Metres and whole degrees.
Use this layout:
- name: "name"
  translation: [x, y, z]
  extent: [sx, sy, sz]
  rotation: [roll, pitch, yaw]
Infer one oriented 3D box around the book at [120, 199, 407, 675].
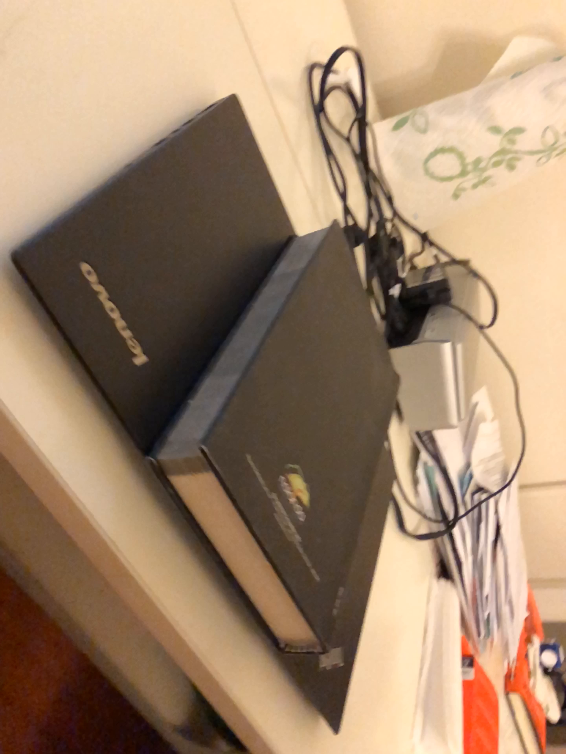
- name: "book"
  translation: [0.015, 0.017, 0.357]
  extent: [0.150, 0.040, 0.231]
  rotation: [63, 30, -28]
